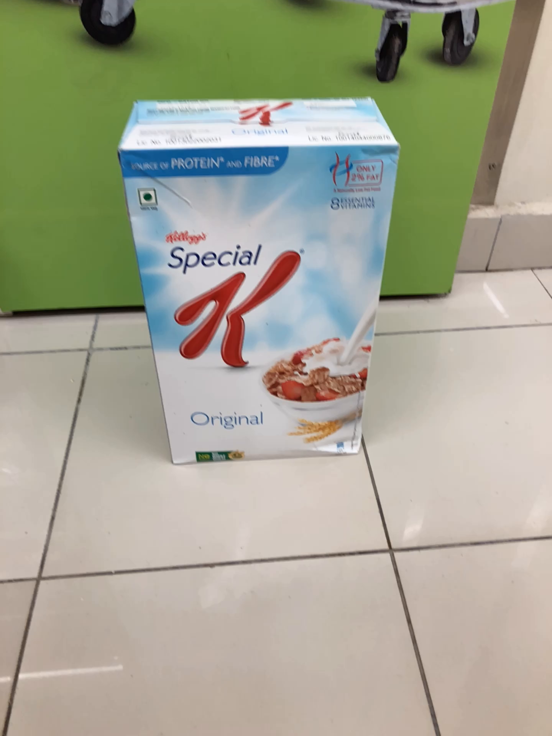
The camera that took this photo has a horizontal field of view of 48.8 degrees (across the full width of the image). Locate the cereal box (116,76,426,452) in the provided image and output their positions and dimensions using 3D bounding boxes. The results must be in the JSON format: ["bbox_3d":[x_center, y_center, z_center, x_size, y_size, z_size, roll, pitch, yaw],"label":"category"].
[{"bbox_3d":[-0.007,-0.074,0.531,0.200,0.308,0.101,-3,41,-4],"label":"cereal box"}]
